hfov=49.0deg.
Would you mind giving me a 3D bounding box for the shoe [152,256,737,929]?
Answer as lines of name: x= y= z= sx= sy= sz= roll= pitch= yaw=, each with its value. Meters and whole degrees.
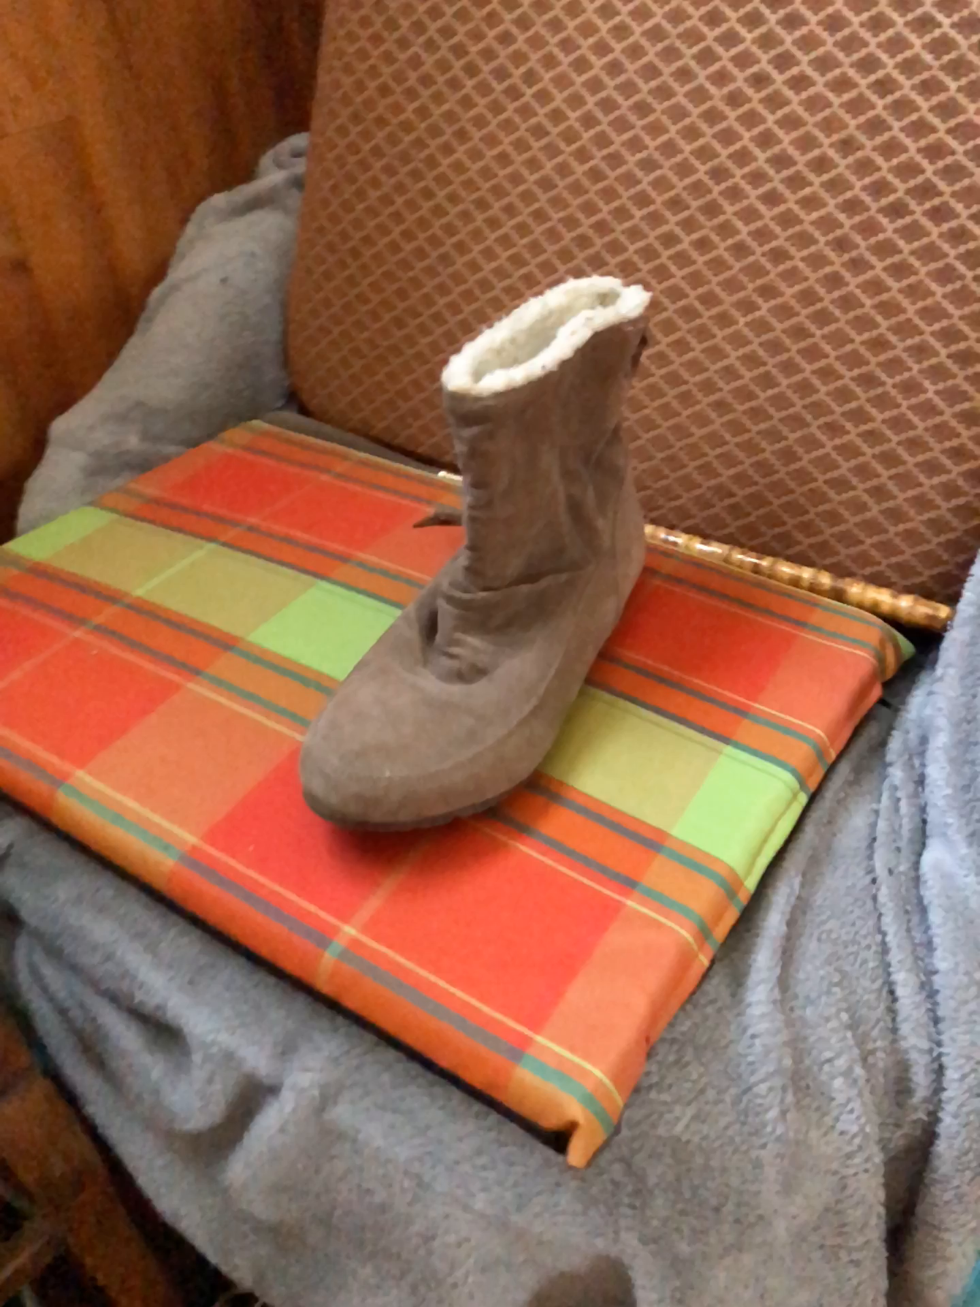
shoe: x=0.005 y=-0.045 z=0.467 sx=0.100 sy=0.159 sz=0.262 roll=18 pitch=44 yaw=27
